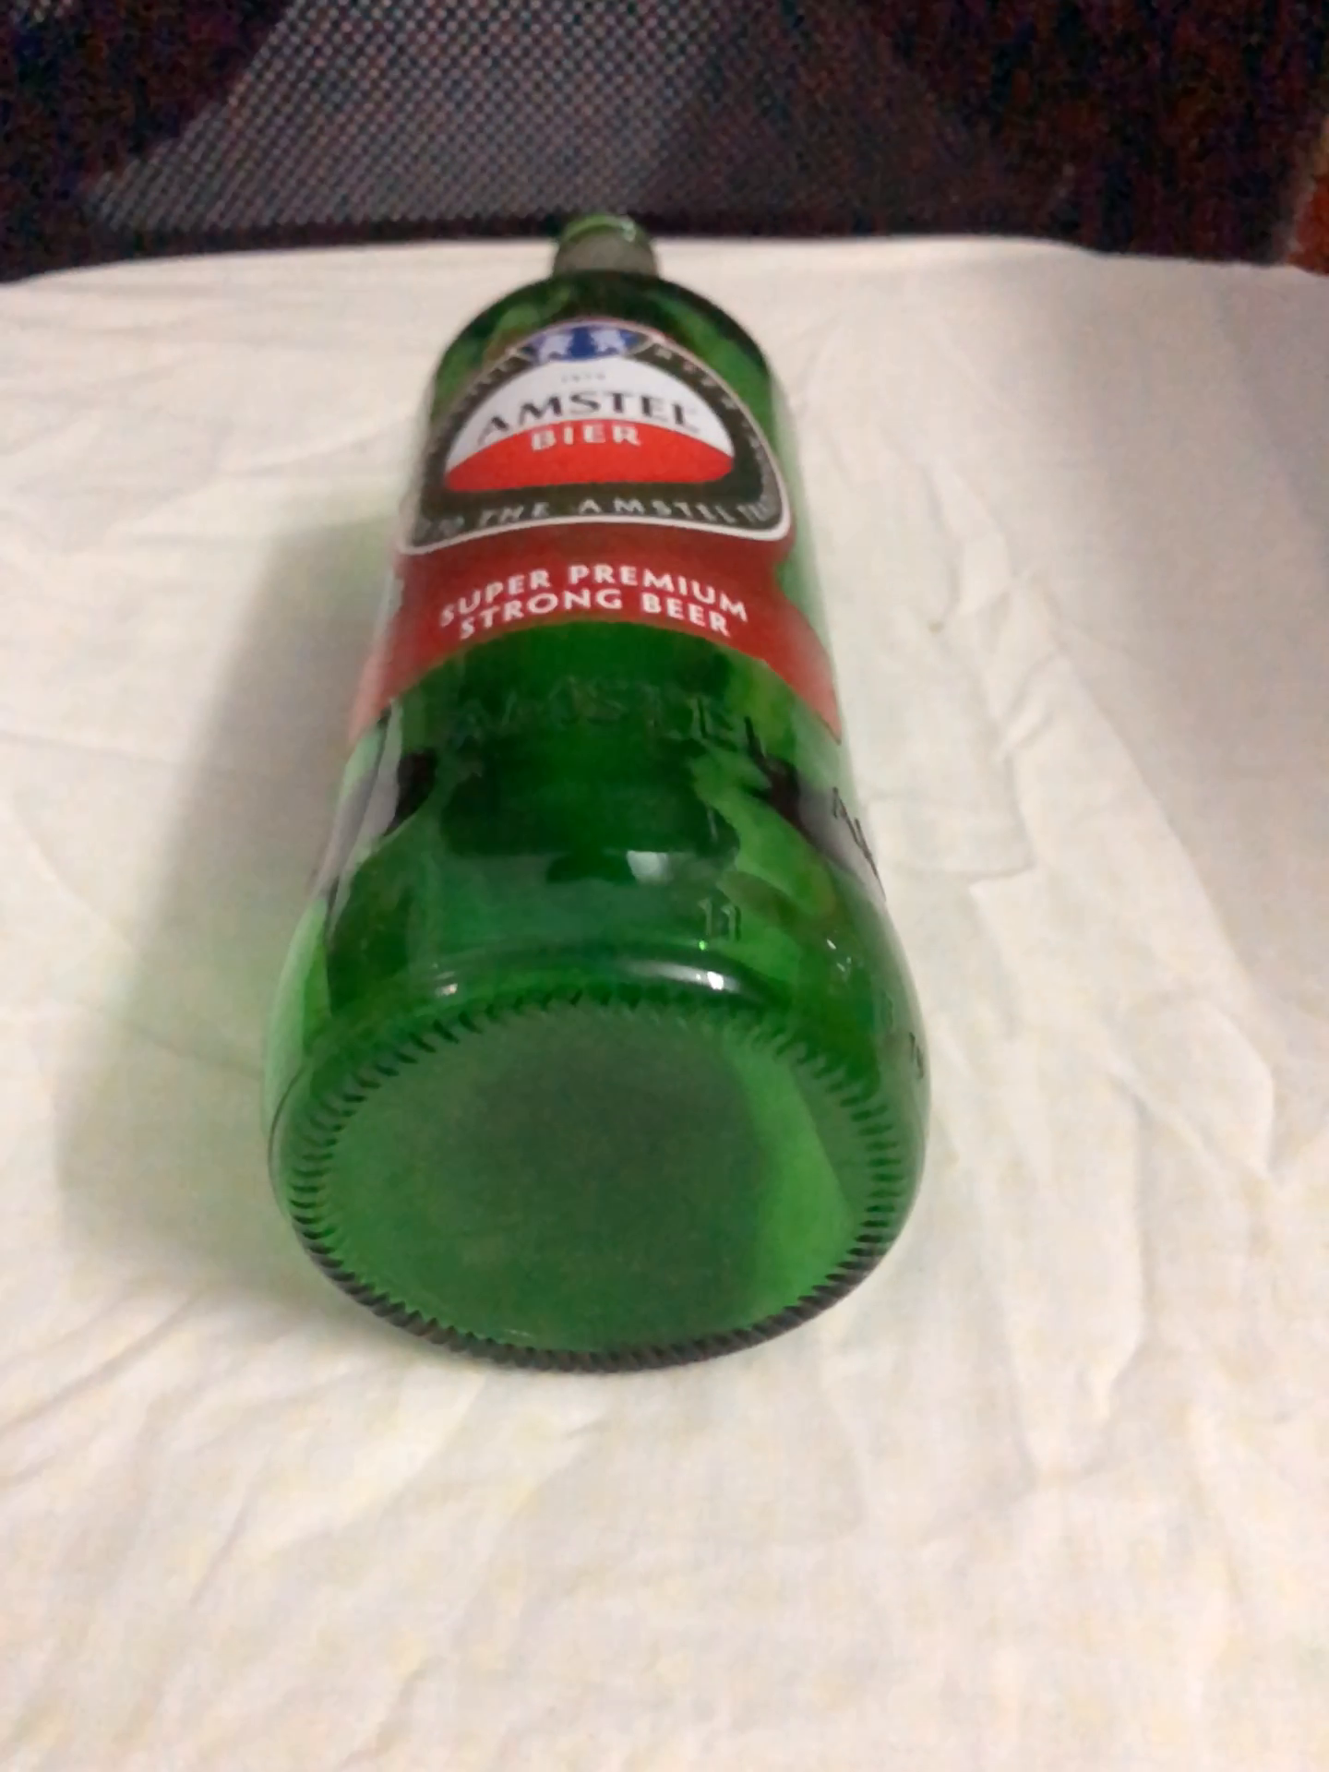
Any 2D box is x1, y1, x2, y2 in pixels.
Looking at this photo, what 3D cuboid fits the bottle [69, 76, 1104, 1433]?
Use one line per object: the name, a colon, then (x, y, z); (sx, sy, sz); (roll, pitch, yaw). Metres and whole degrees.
bottle: (-0.010, -0.079, 0.296); (0.090, 0.080, 0.362); (0, 39, -1)
